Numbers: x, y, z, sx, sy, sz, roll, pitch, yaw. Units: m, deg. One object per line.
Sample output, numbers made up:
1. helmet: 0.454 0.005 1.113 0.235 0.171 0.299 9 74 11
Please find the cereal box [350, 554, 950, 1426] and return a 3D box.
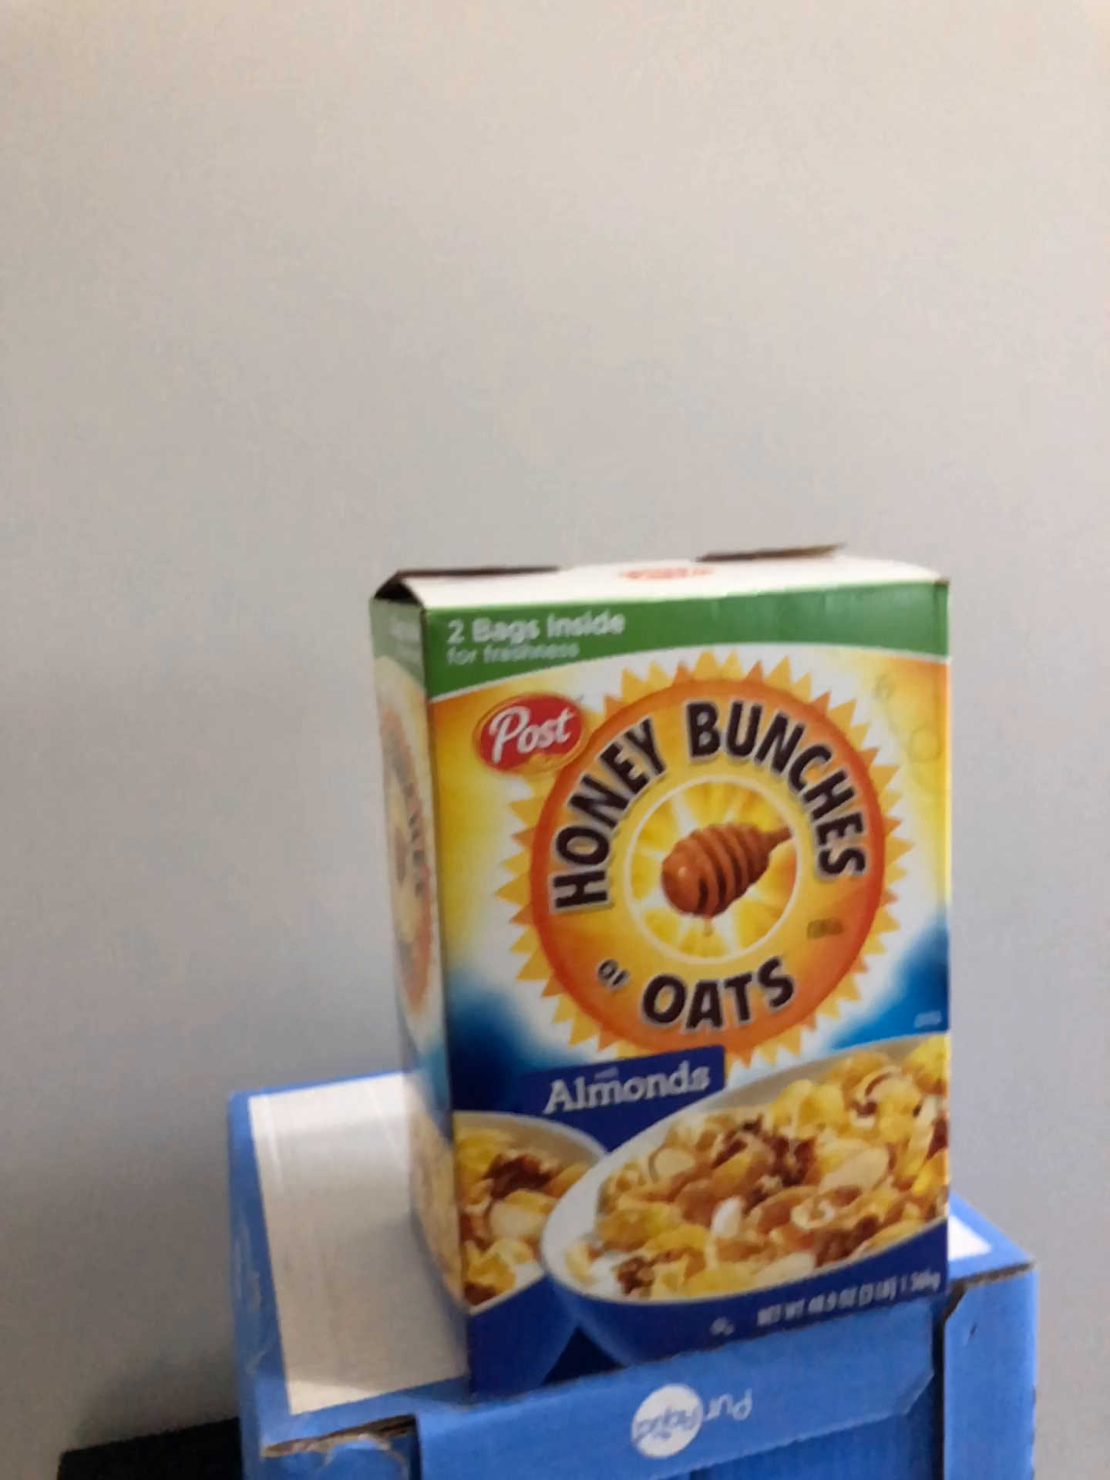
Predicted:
1. cereal box: 0.034 0.079 0.520 0.200 0.300 0.150 -5 9 -15
